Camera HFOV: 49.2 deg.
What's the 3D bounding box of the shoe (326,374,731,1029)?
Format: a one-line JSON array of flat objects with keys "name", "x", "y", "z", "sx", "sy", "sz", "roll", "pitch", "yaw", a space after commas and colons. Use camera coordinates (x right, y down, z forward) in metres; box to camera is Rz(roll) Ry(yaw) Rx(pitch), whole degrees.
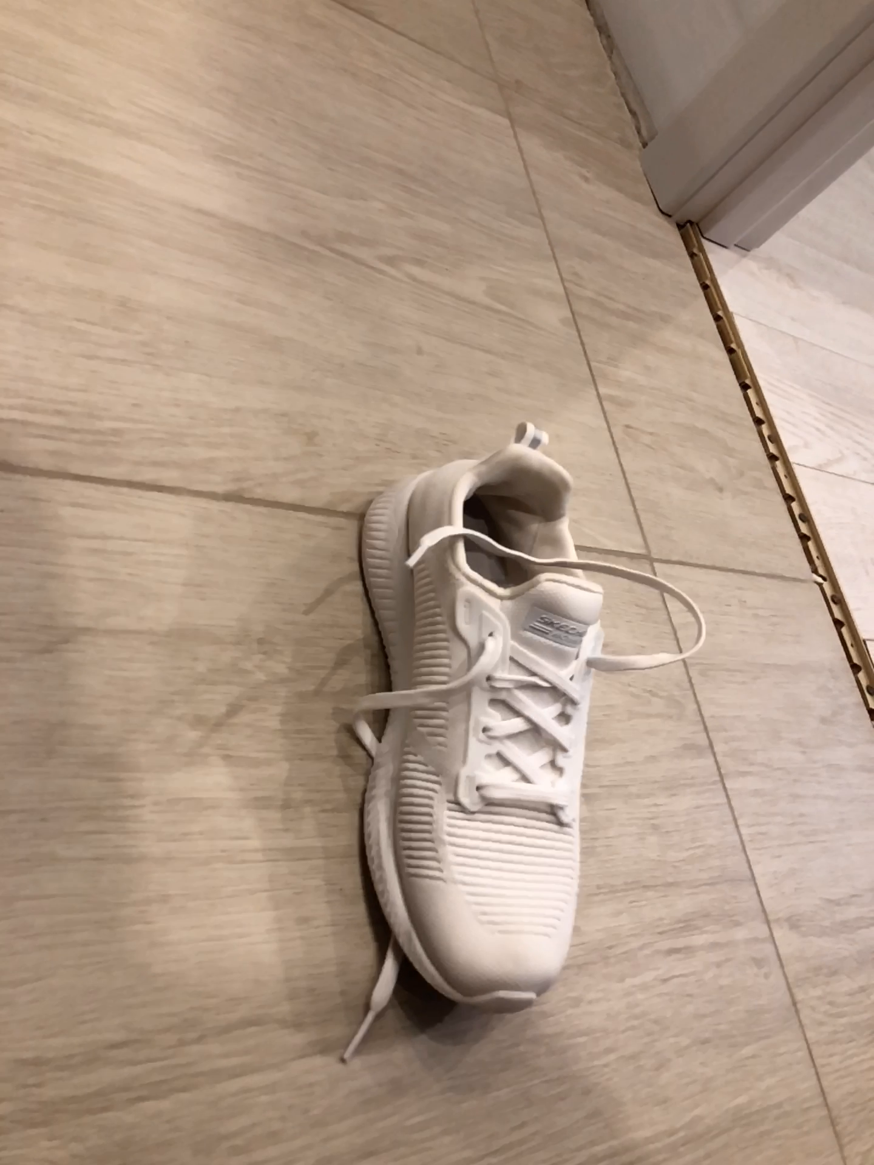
[{"name": "shoe", "x": 0.023, "y": 0.053, "z": 0.396, "sx": 0.090, "sy": 0.119, "sz": 0.231, "roll": 15, "pitch": 57, "yaw": -31}]
